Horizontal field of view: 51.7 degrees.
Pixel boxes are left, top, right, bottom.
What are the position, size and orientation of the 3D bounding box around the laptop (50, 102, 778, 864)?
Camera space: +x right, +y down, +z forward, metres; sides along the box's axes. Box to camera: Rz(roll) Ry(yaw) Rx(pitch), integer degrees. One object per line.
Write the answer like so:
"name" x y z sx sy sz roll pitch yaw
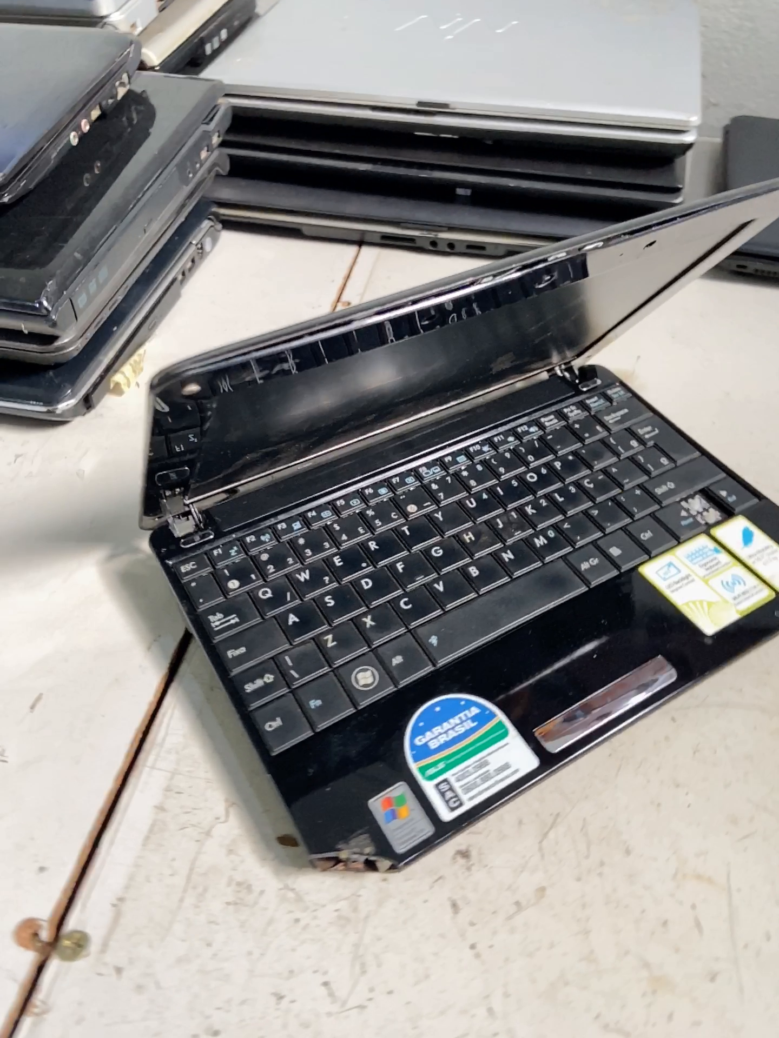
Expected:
"laptop" 0.048 -0.036 0.306 0.262 0.137 0.168 -22 50 -22
